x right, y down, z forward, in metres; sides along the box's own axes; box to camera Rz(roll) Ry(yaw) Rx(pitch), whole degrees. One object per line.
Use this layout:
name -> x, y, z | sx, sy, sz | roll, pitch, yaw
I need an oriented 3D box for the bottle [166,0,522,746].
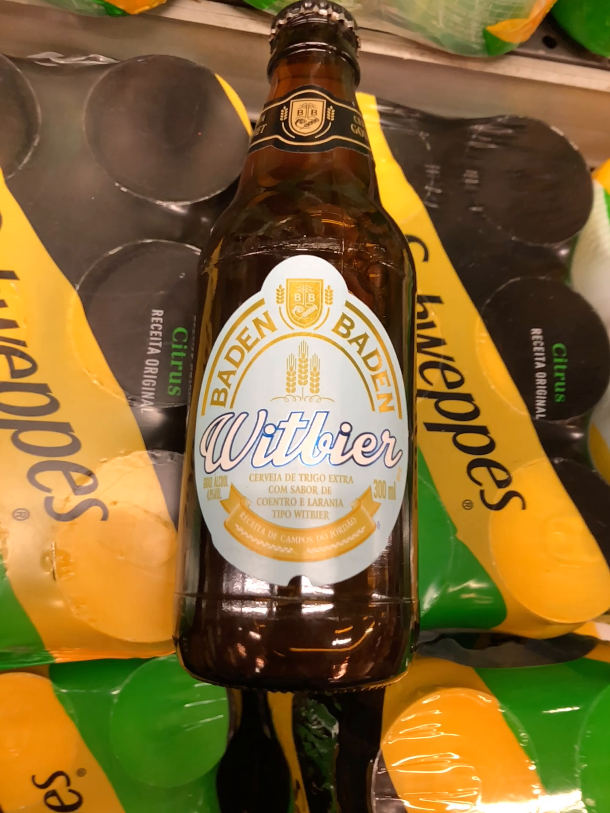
bottle -> 0.009, -0.029, 0.179 | 0.070, 0.060, 0.200 | 5, 80, -13
